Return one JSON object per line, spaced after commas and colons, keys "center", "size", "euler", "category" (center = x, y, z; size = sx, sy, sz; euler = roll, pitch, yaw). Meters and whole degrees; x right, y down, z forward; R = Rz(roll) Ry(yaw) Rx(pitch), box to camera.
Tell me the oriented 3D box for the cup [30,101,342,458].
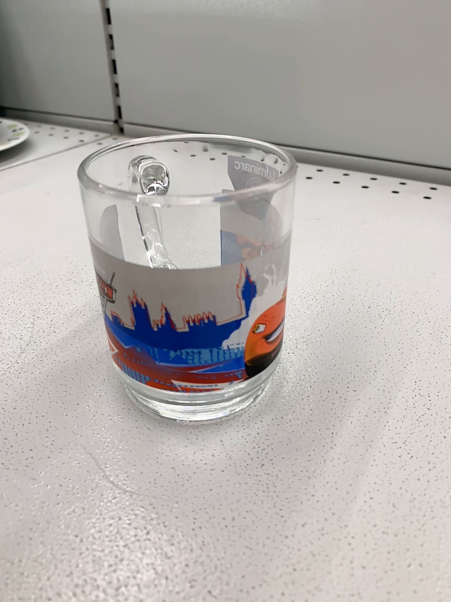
{"center": [-0.022, -0.020, 0.184], "size": [0.071, 0.087, 0.108], "euler": [-15, 35, -22], "category": "cup"}
